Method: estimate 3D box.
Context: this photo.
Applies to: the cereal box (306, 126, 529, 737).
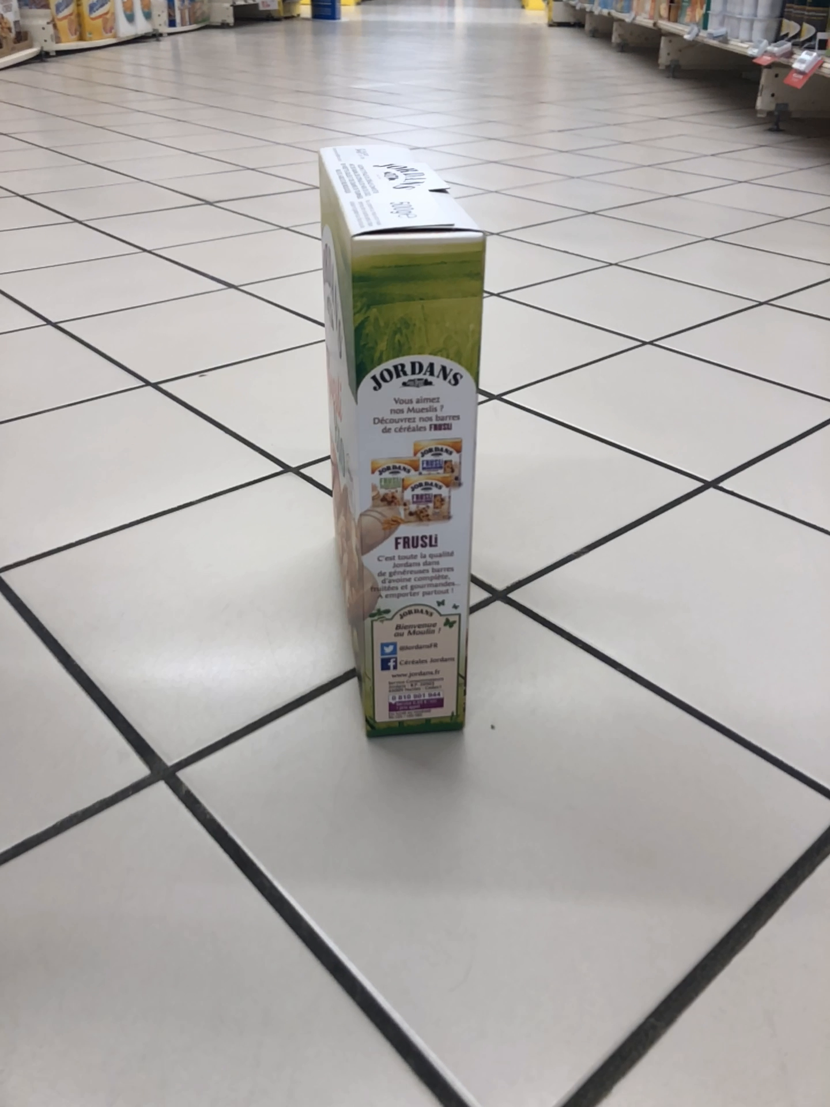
[{"bbox_3d":[-0.010,-0.065,0.408,0.060,0.209,0.191,-4,32,-7],"label":"cereal box"}]
